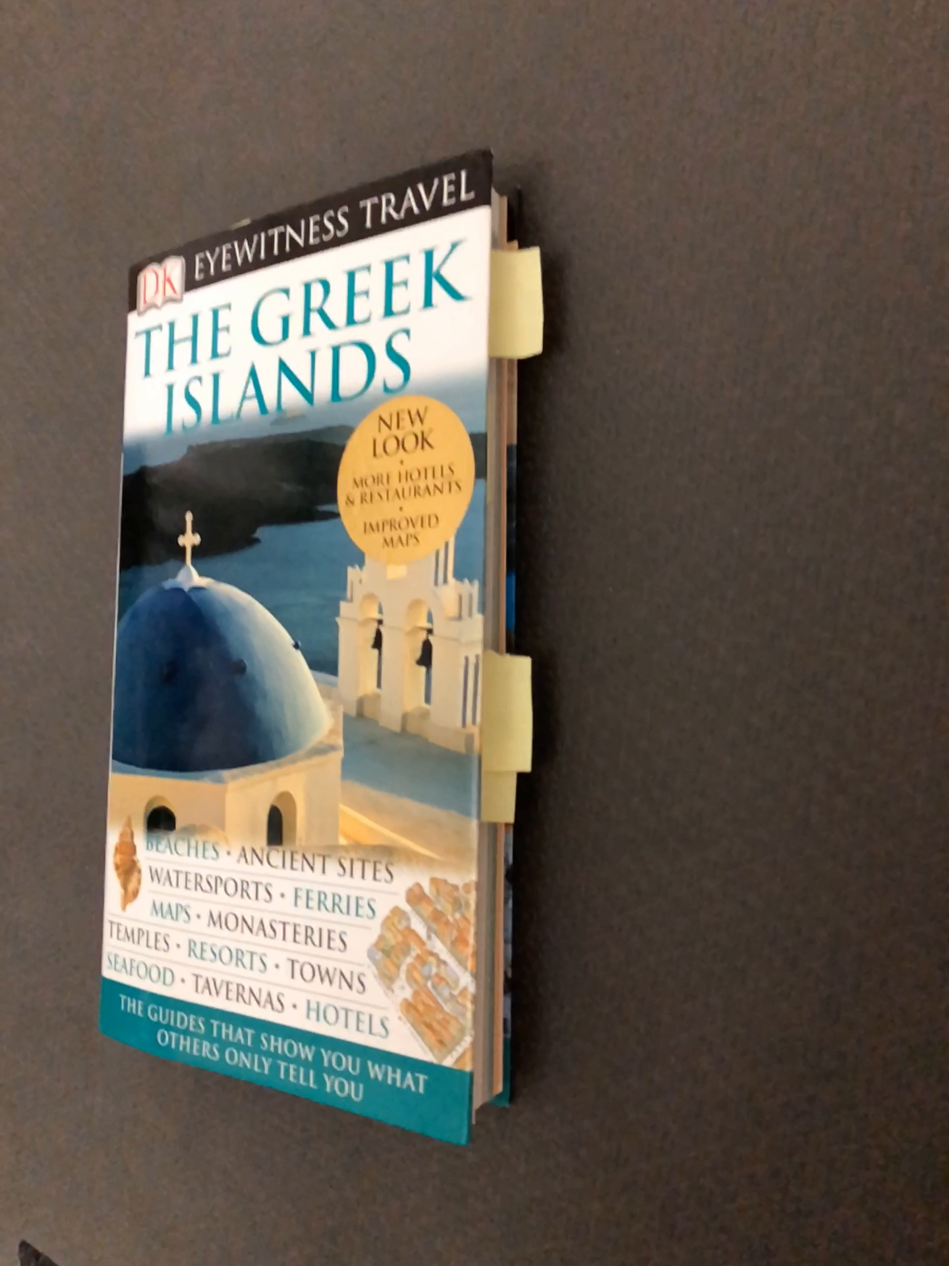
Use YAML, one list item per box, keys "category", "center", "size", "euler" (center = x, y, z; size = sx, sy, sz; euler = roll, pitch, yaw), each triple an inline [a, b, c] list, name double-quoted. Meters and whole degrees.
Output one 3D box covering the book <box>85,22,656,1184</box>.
- category: "book"
  center: [-0.035, -0.009, 0.275]
  size: [0.161, 0.030, 0.240]
  euler: [-1, 85, 36]
